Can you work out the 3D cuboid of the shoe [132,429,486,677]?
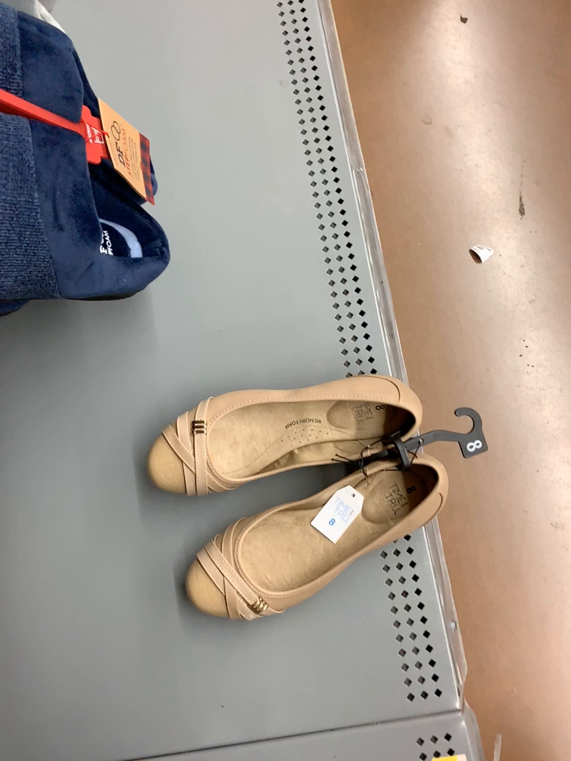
[{"bbox_3d":[0.021,0.151,0.538,0.280,0.100,0.100,-23,79,-1],"label":"shoe"}]

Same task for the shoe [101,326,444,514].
[{"bbox_3d":[-0.012,0.042,0.548,0.280,0.100,0.100,-13,79,1],"label":"shoe"}]
